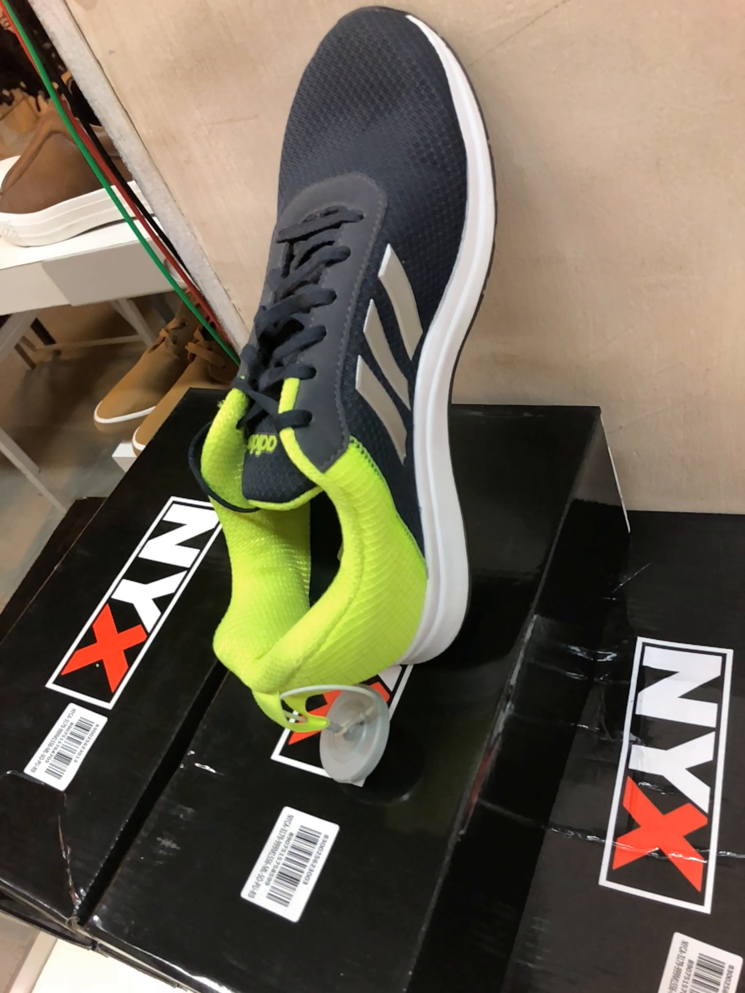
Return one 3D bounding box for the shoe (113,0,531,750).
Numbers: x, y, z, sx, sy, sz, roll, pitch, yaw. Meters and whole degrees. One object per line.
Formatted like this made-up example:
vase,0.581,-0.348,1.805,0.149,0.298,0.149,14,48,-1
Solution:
shoe,-0.016,-0.054,0.335,0.104,0.098,0.272,4,87,35
